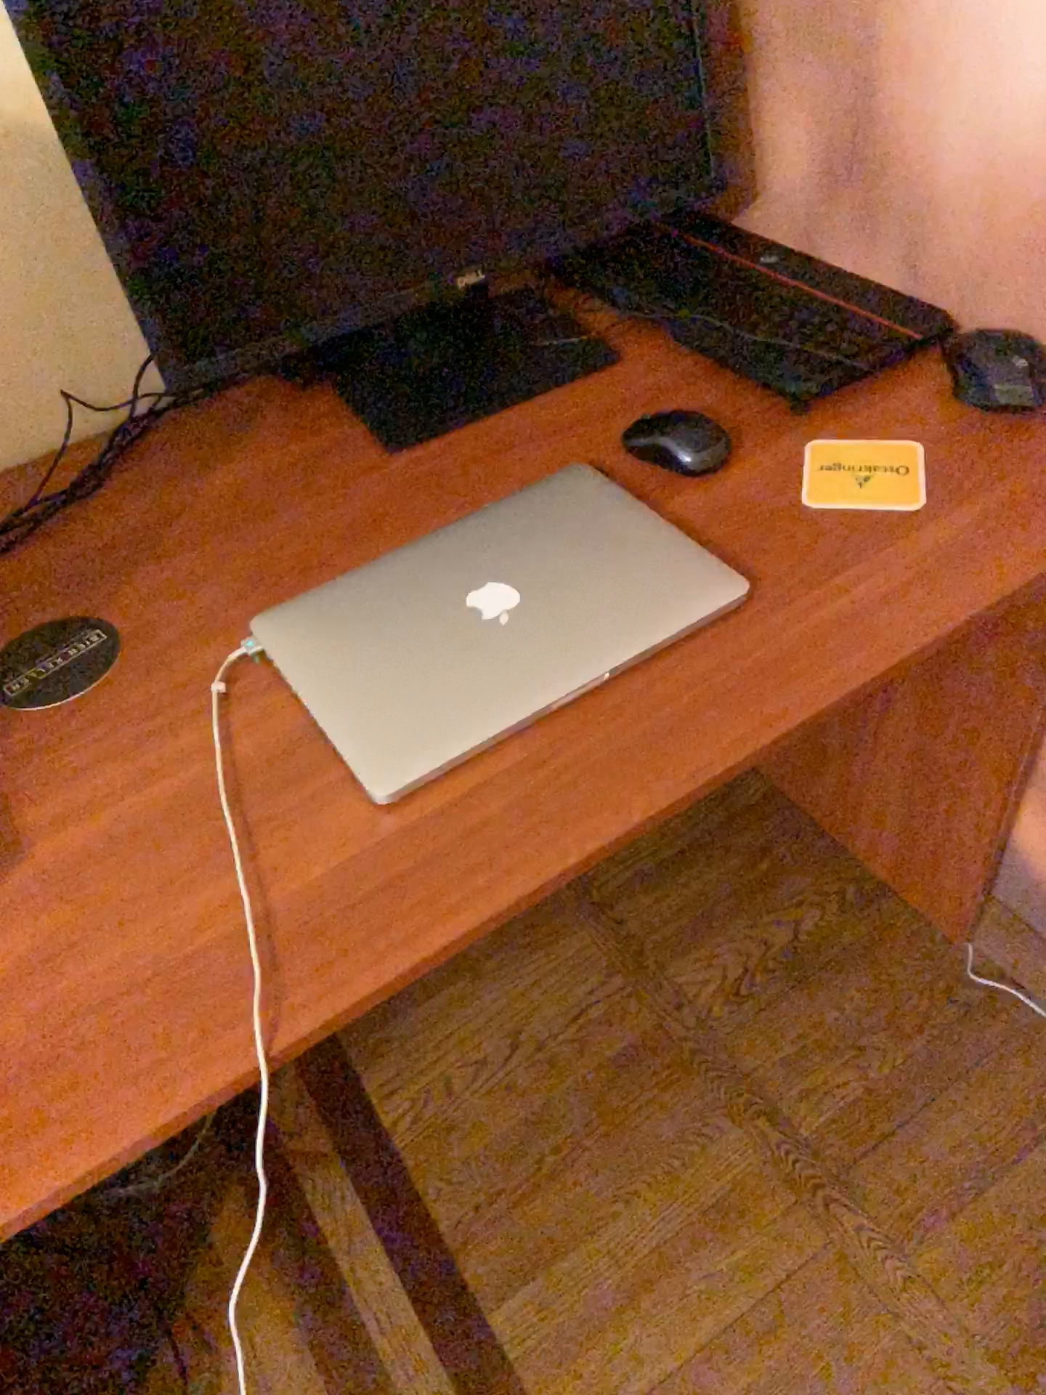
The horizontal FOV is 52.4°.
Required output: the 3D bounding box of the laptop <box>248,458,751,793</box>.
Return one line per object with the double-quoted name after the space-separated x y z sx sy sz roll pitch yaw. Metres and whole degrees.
-0.021 -0.071 0.775 0.306 0.001 0.214 -28 49 -19 "laptop"
